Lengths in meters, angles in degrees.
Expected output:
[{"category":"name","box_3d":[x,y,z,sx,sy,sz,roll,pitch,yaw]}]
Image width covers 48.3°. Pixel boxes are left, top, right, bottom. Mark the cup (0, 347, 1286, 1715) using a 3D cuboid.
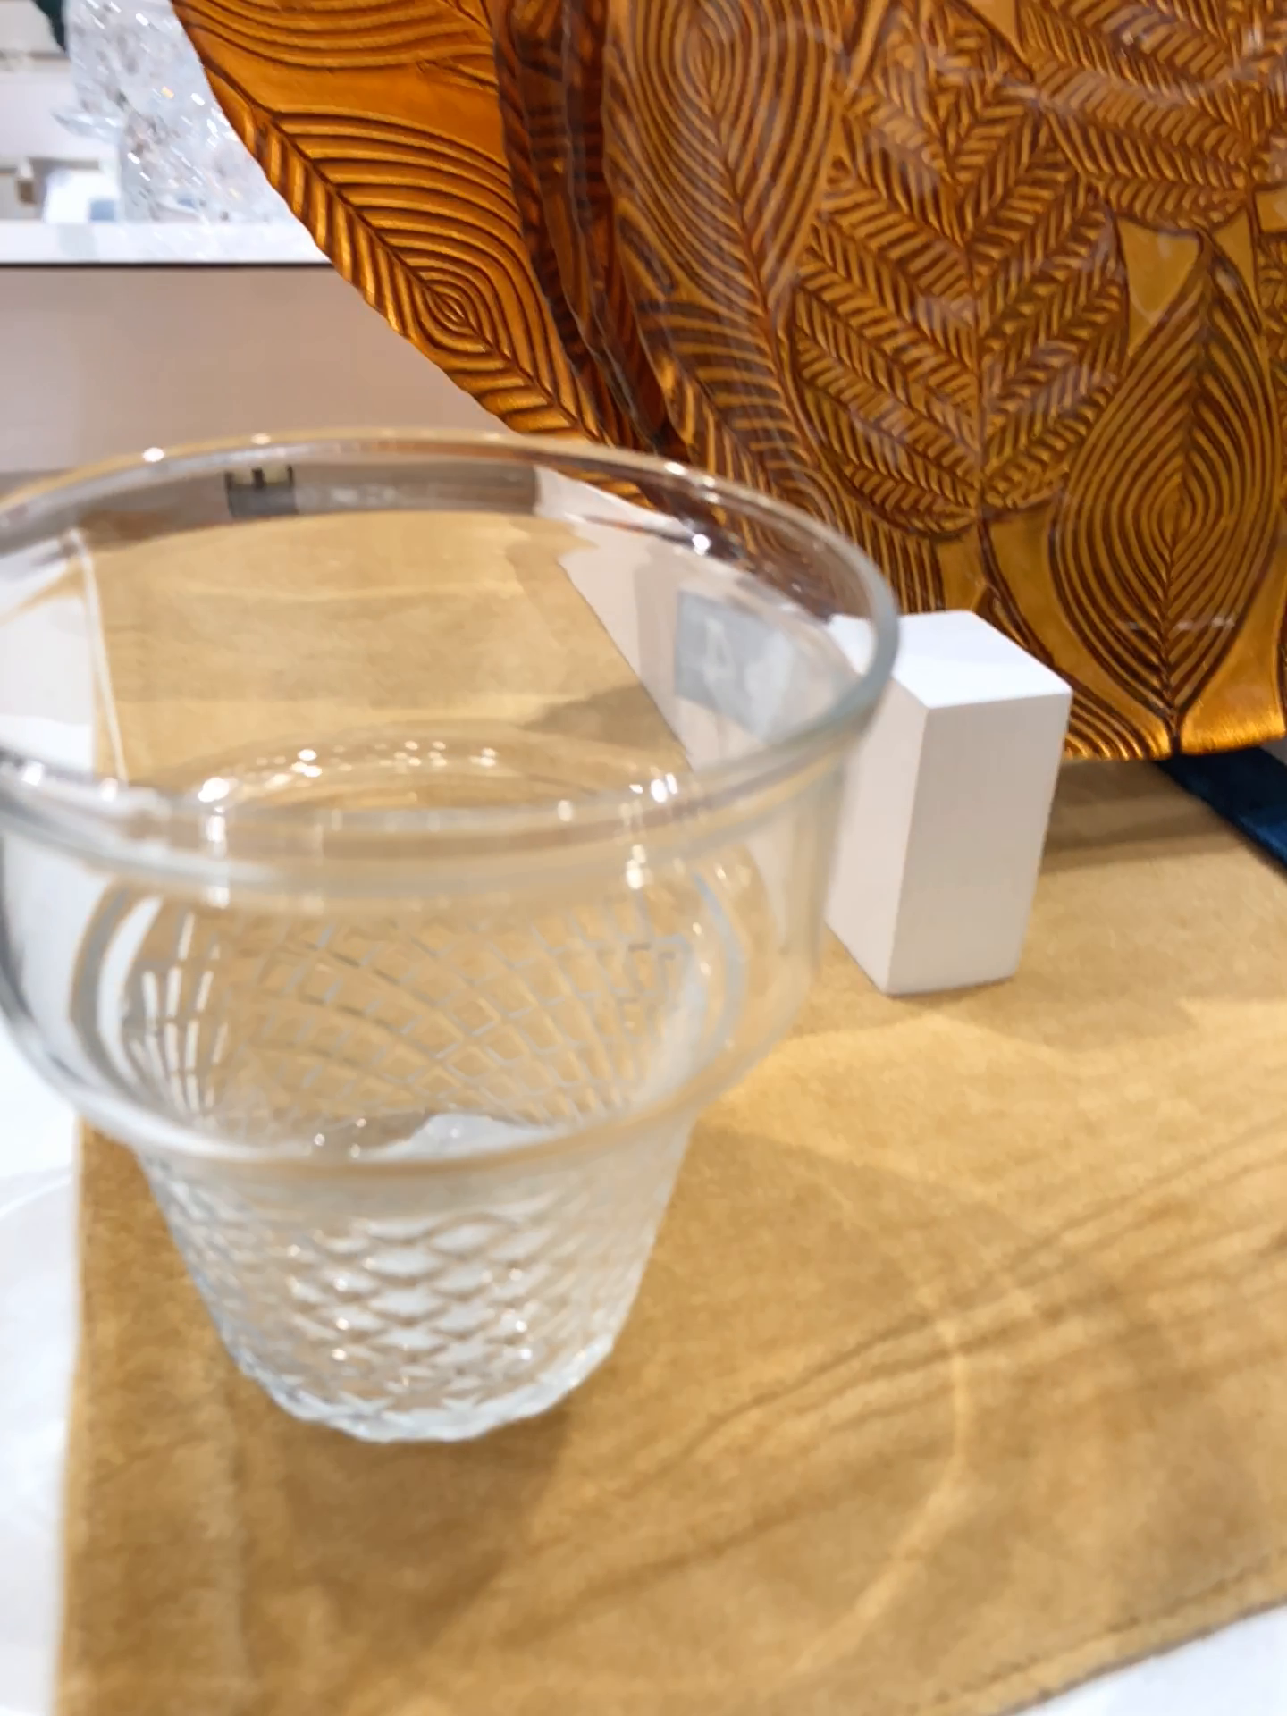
[{"category":"cup","box_3d":[-0.007,0.005,0.116,0.080,0.070,0.080,2,30,-1]}]
